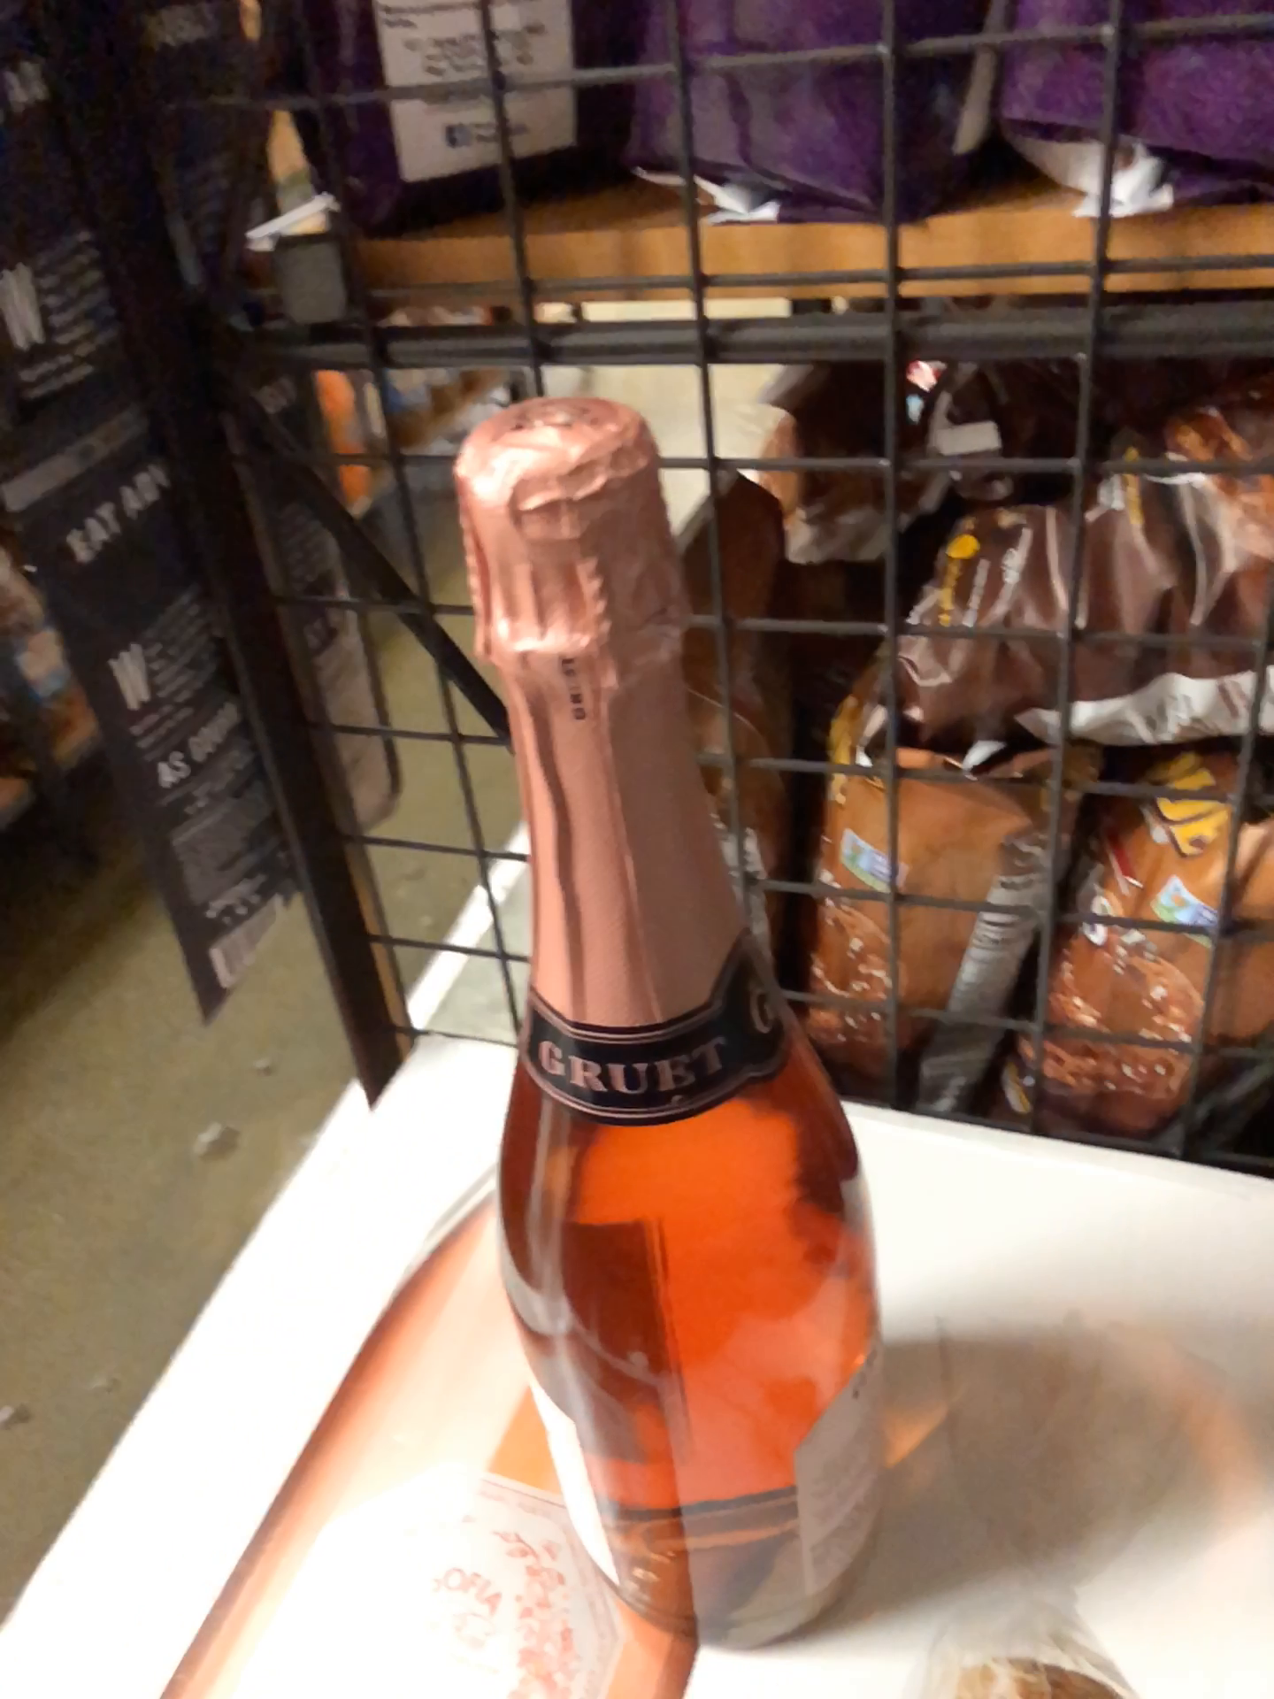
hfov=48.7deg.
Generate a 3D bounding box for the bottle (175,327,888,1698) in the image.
[{"bbox_3d":[0.006,0.061,0.308,0.090,0.311,0.090,-5,35,4],"label":"bottle"}]
